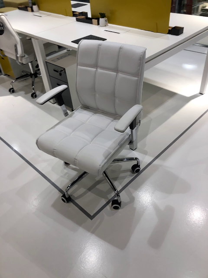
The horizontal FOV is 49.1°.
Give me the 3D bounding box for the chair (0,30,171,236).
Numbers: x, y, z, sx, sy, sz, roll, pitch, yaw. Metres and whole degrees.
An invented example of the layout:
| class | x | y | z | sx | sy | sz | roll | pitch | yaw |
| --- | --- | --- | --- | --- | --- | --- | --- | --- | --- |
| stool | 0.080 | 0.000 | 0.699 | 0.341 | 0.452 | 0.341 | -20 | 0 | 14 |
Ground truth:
| class | x | y | z | sx | sy | sz | roll | pitch | yaw |
| --- | --- | --- | --- | --- | --- | --- | --- | --- | --- |
| chair | -0.074 | -0.070 | 1.463 | 0.662 | 0.923 | 0.724 | 20 | 47 | 28 |
